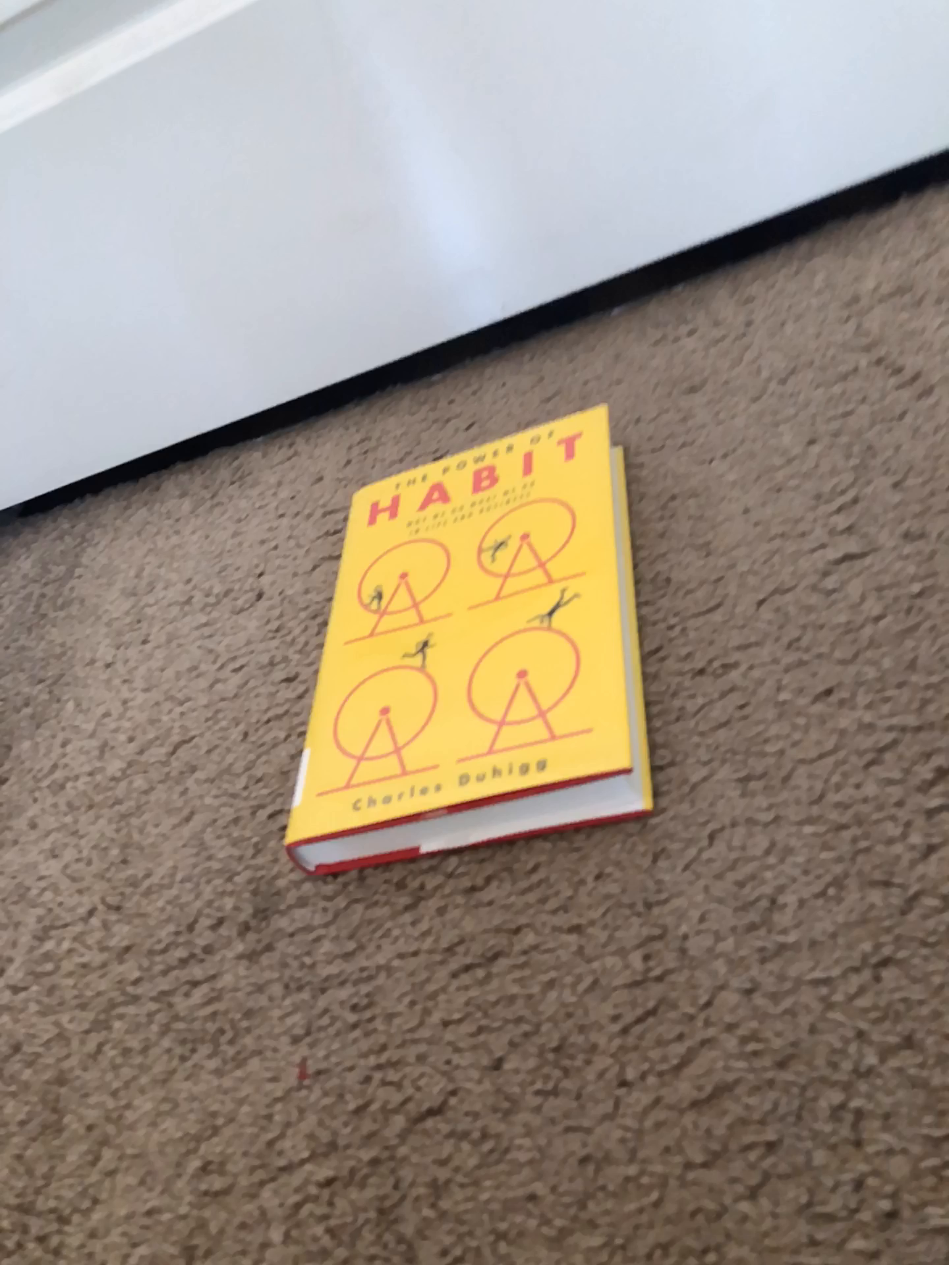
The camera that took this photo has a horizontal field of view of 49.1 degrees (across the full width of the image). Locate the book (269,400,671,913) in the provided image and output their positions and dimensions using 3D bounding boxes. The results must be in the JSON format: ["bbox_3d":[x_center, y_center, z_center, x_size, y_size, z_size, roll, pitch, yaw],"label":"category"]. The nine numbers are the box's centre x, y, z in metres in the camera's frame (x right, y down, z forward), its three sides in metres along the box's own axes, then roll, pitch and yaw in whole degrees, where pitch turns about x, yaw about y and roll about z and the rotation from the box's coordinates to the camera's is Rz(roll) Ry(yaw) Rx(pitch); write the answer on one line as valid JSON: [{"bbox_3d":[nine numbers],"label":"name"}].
[{"bbox_3d":[0.002,0.001,0.512,0.165,0.040,0.251,-16,43,20],"label":"book"}]
